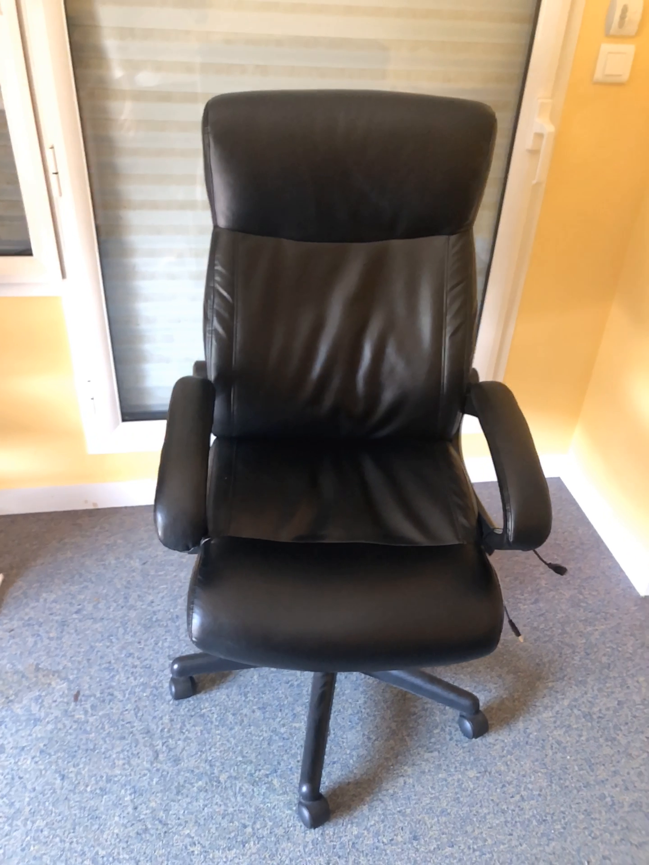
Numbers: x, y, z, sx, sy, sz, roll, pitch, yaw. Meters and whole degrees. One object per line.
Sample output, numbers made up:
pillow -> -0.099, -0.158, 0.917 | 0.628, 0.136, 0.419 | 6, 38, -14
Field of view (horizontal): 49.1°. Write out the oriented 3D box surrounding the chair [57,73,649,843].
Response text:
chair -> 0.024, 0.039, 1.283 | 0.661, 1.113, 0.754 | -1, 34, -7
